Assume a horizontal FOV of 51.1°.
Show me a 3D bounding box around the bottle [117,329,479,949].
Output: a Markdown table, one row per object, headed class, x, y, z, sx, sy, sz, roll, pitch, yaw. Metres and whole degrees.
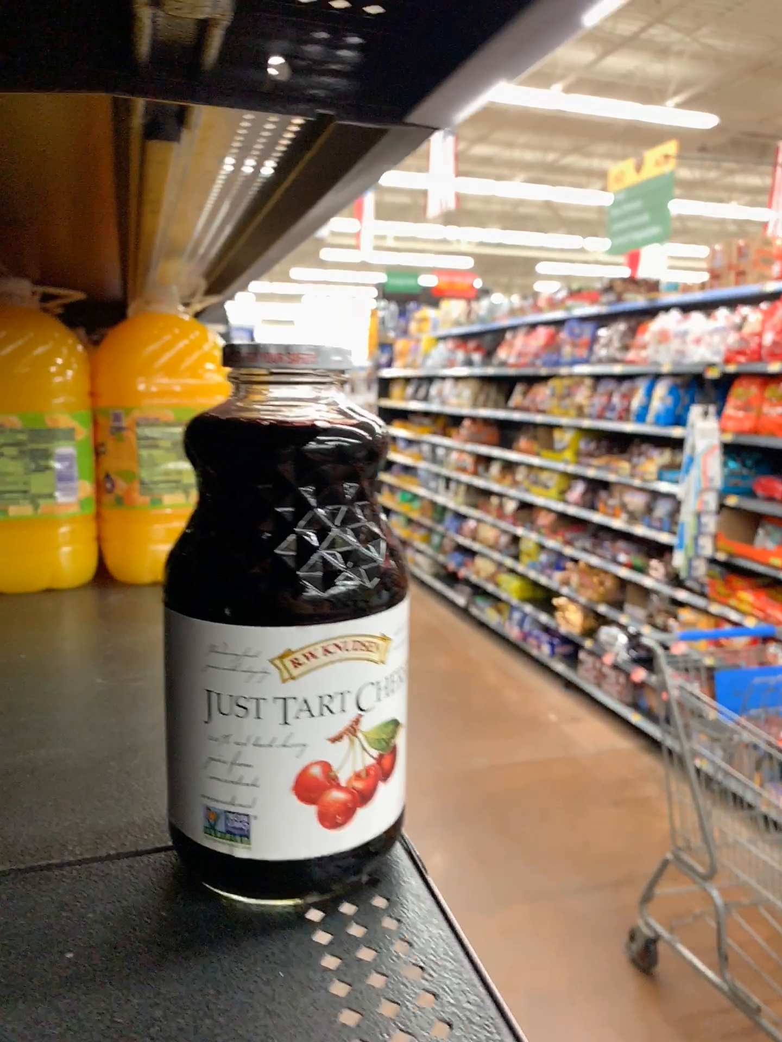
| class | x | y | z | sx | sy | sz | roll | pitch | yaw |
| --- | --- | --- | --- | --- | --- | --- | --- | --- | --- |
| bottle | -0.043 | 0.031 | 0.326 | 0.100 | 0.200 | 0.110 | -4 | 10 | -31 |
